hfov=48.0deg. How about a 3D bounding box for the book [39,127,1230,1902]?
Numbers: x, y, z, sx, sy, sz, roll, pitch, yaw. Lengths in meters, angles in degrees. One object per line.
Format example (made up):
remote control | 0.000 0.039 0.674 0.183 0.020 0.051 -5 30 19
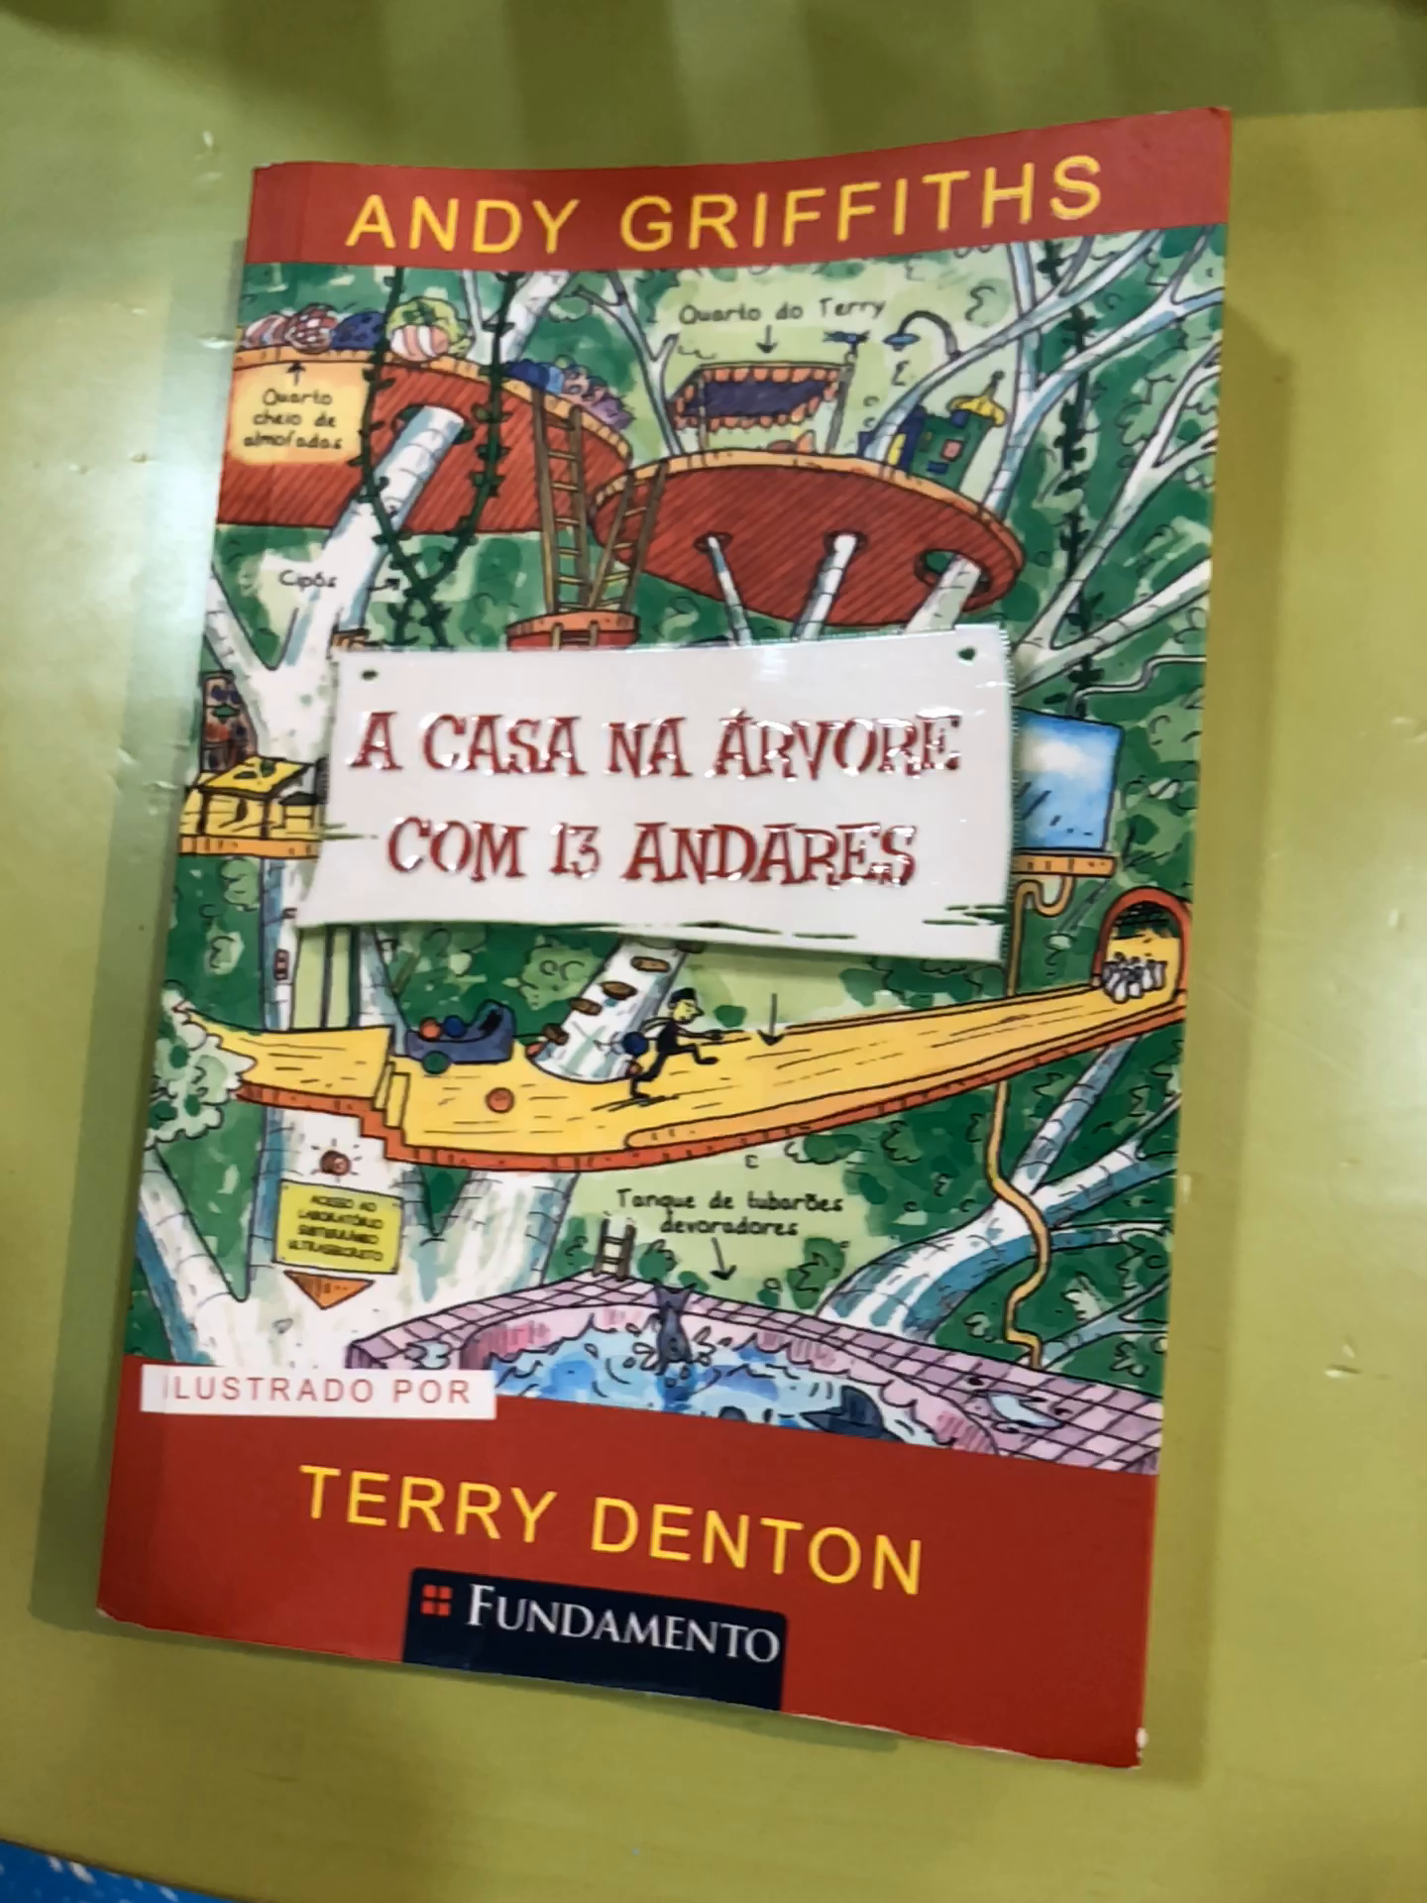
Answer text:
book | -0.008 0.001 0.220 0.137 0.040 0.210 3 85 11
